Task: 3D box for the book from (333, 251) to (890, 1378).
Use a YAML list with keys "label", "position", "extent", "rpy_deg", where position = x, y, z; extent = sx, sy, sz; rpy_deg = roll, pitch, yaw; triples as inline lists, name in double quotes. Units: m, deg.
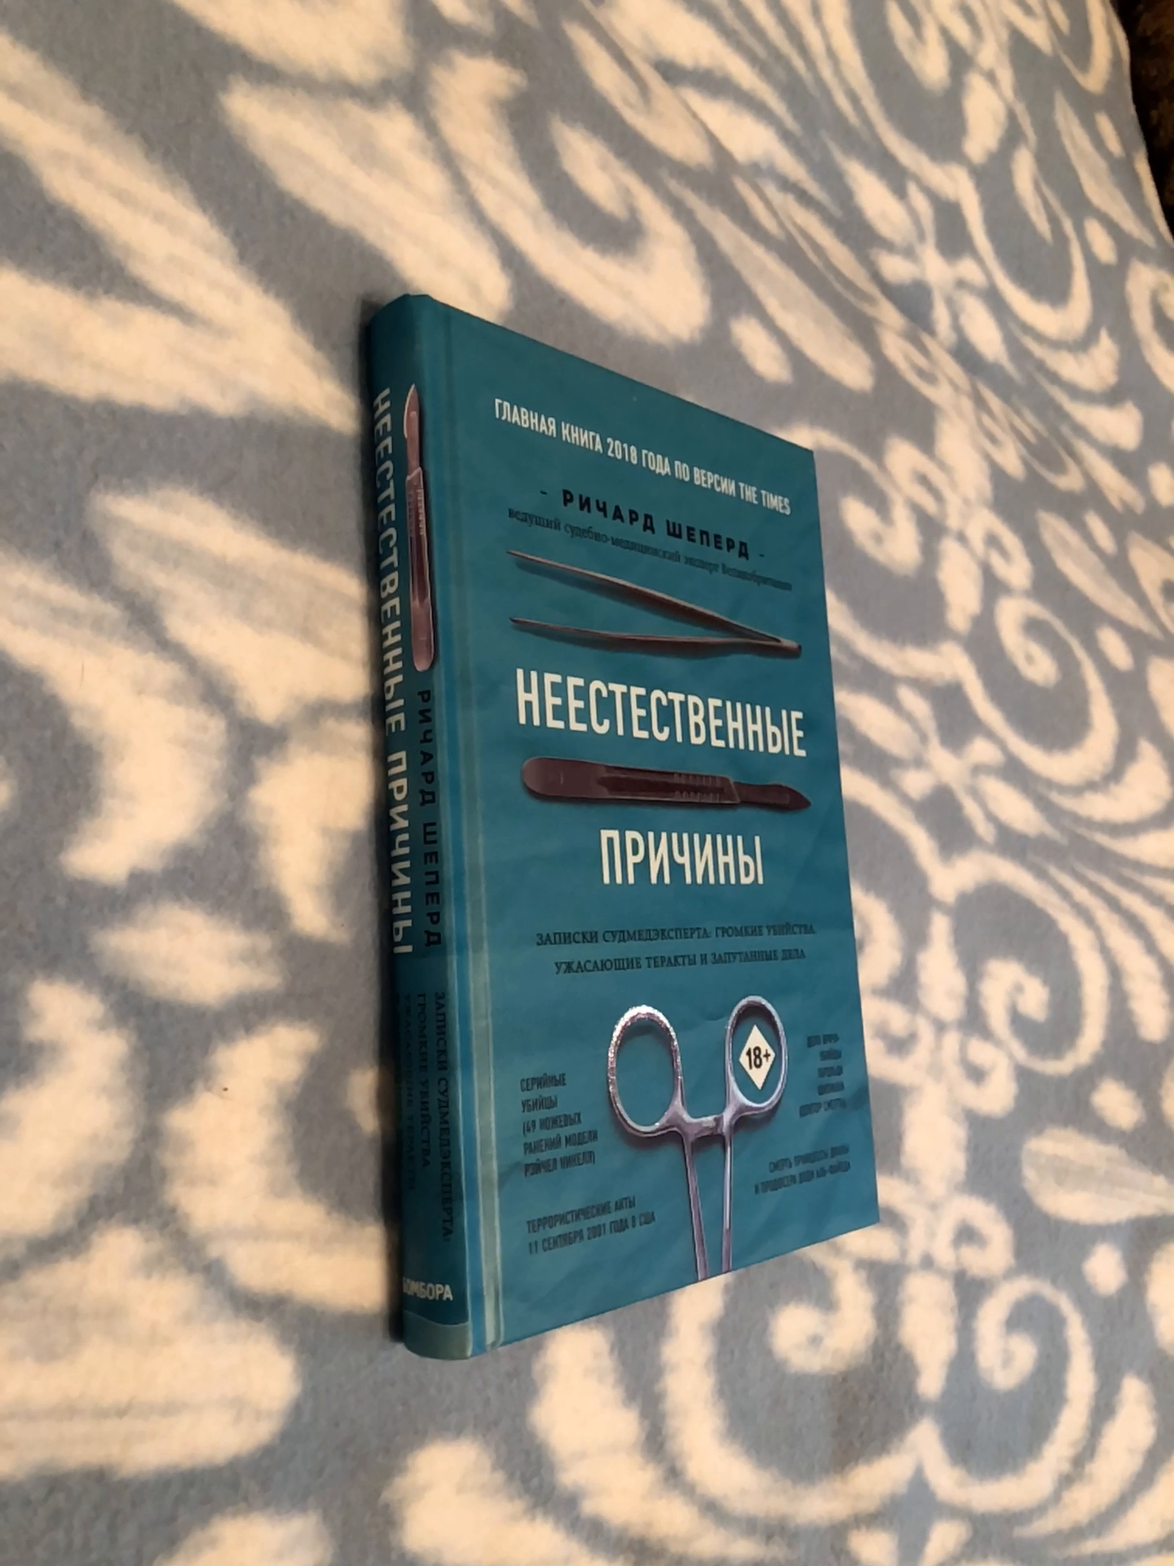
- label: "book"
  position: [0.012, 0.005, 0.312]
  extent: [0.149, 0.025, 0.218]
  rpy_deg: [5, 79, -46]
